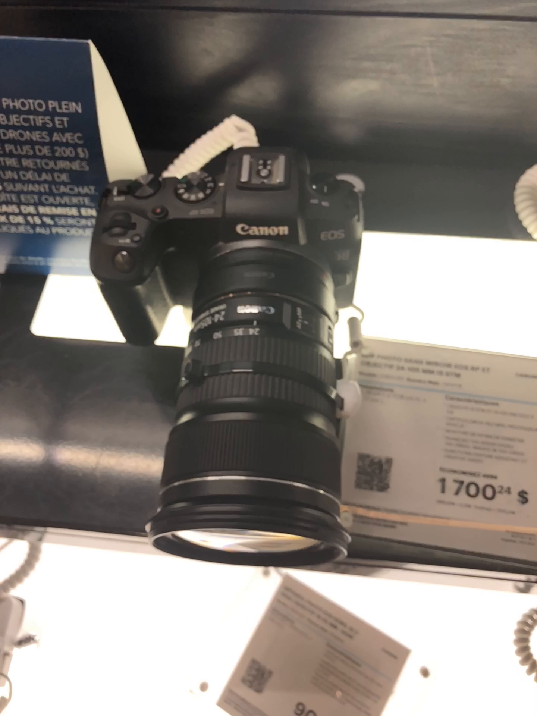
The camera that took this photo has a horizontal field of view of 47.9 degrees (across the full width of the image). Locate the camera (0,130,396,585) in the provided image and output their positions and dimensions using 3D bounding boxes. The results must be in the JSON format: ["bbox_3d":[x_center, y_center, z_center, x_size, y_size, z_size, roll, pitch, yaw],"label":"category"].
[{"bbox_3d":[-0.018,-0.004,0.274,0.128,0.099,0.178,2,58,4],"label":"camera"}]
